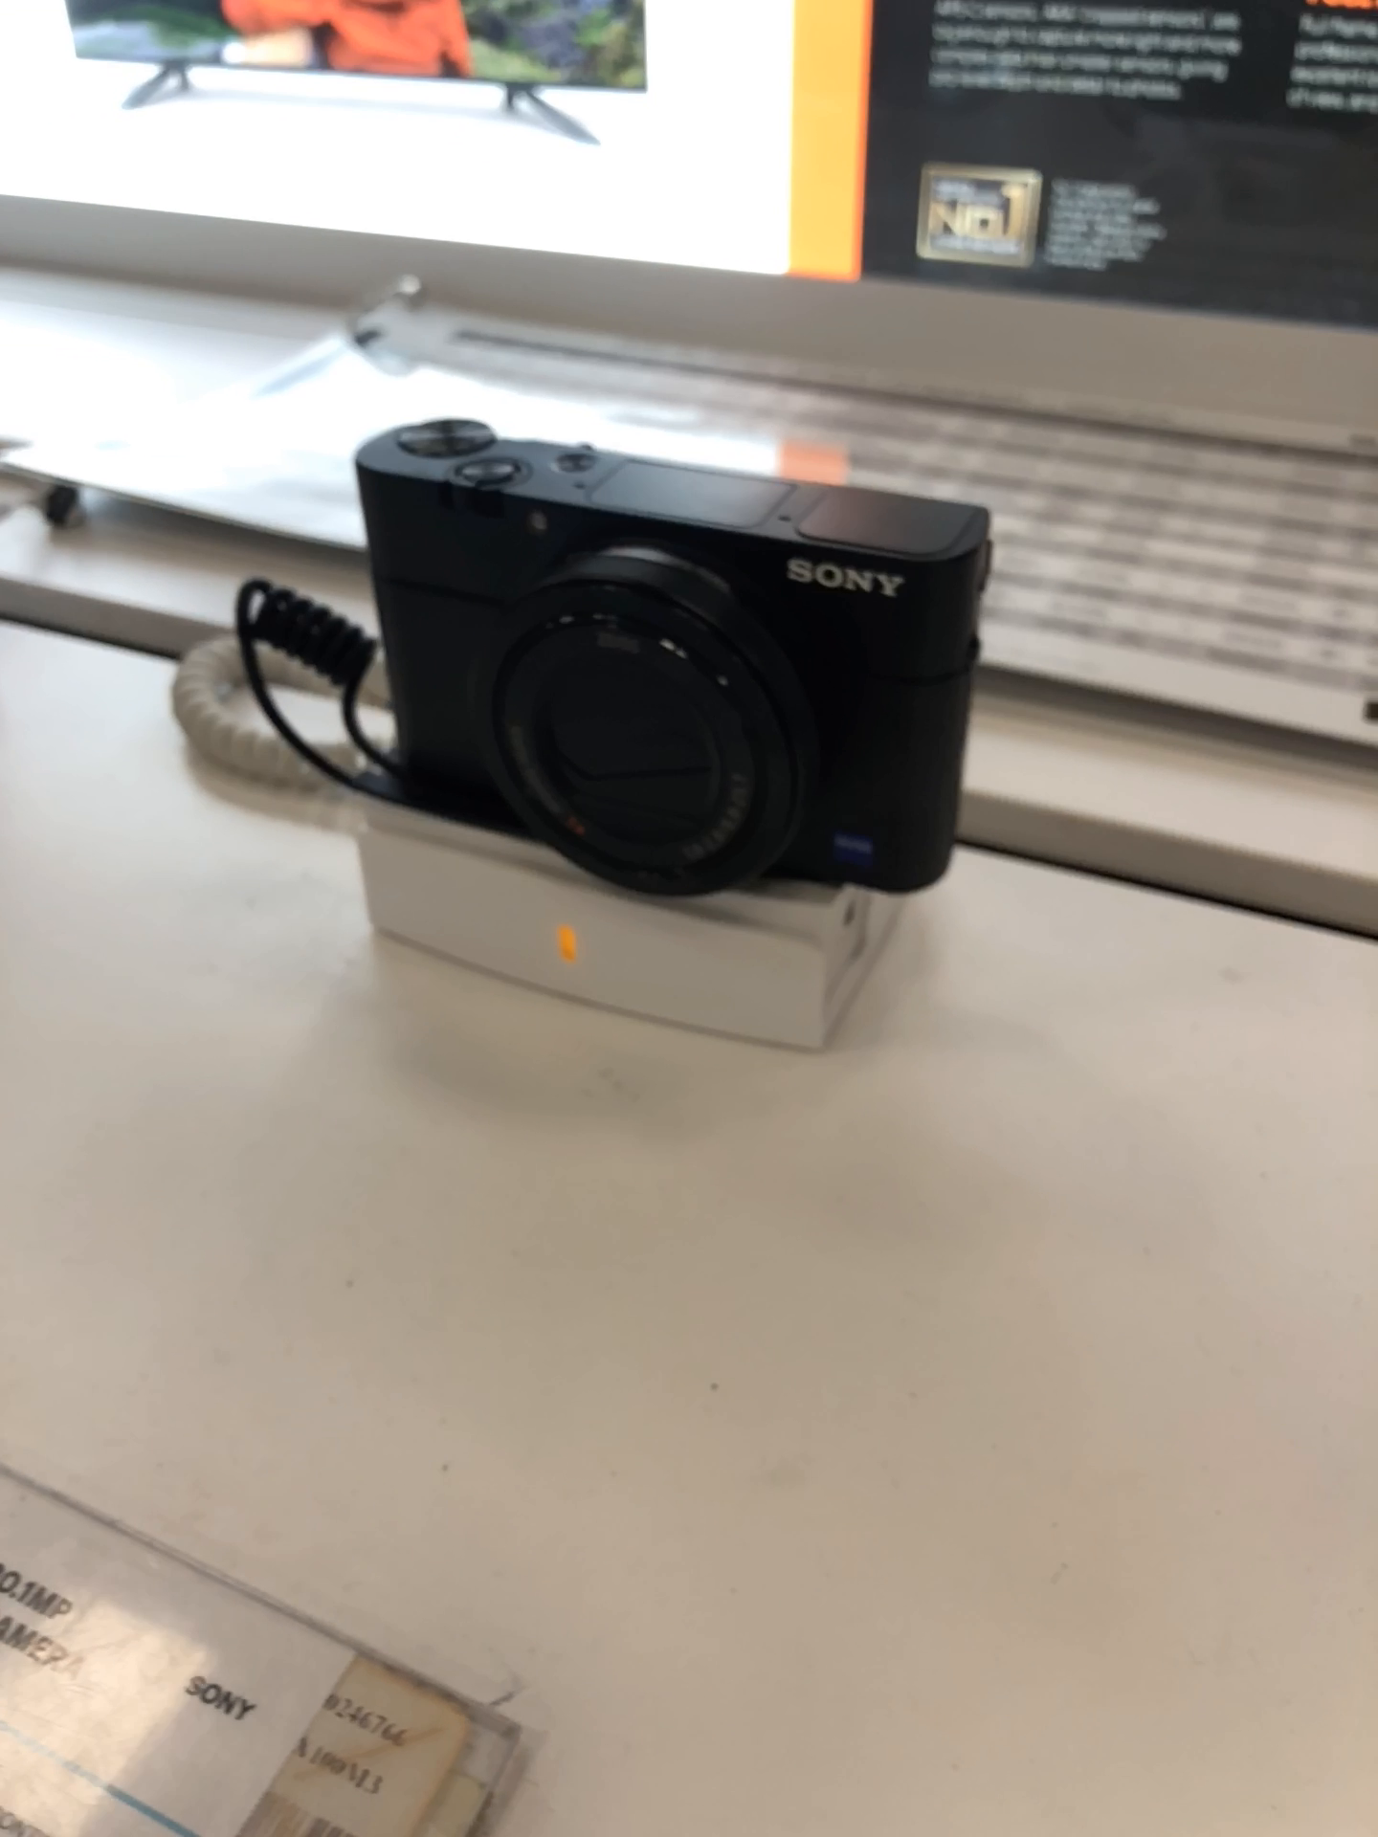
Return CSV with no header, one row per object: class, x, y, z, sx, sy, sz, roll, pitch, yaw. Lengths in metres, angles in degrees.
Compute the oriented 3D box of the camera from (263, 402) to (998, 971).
camera,-0.009,-0.040,0.262,0.110,0.070,0.030,14,44,20
